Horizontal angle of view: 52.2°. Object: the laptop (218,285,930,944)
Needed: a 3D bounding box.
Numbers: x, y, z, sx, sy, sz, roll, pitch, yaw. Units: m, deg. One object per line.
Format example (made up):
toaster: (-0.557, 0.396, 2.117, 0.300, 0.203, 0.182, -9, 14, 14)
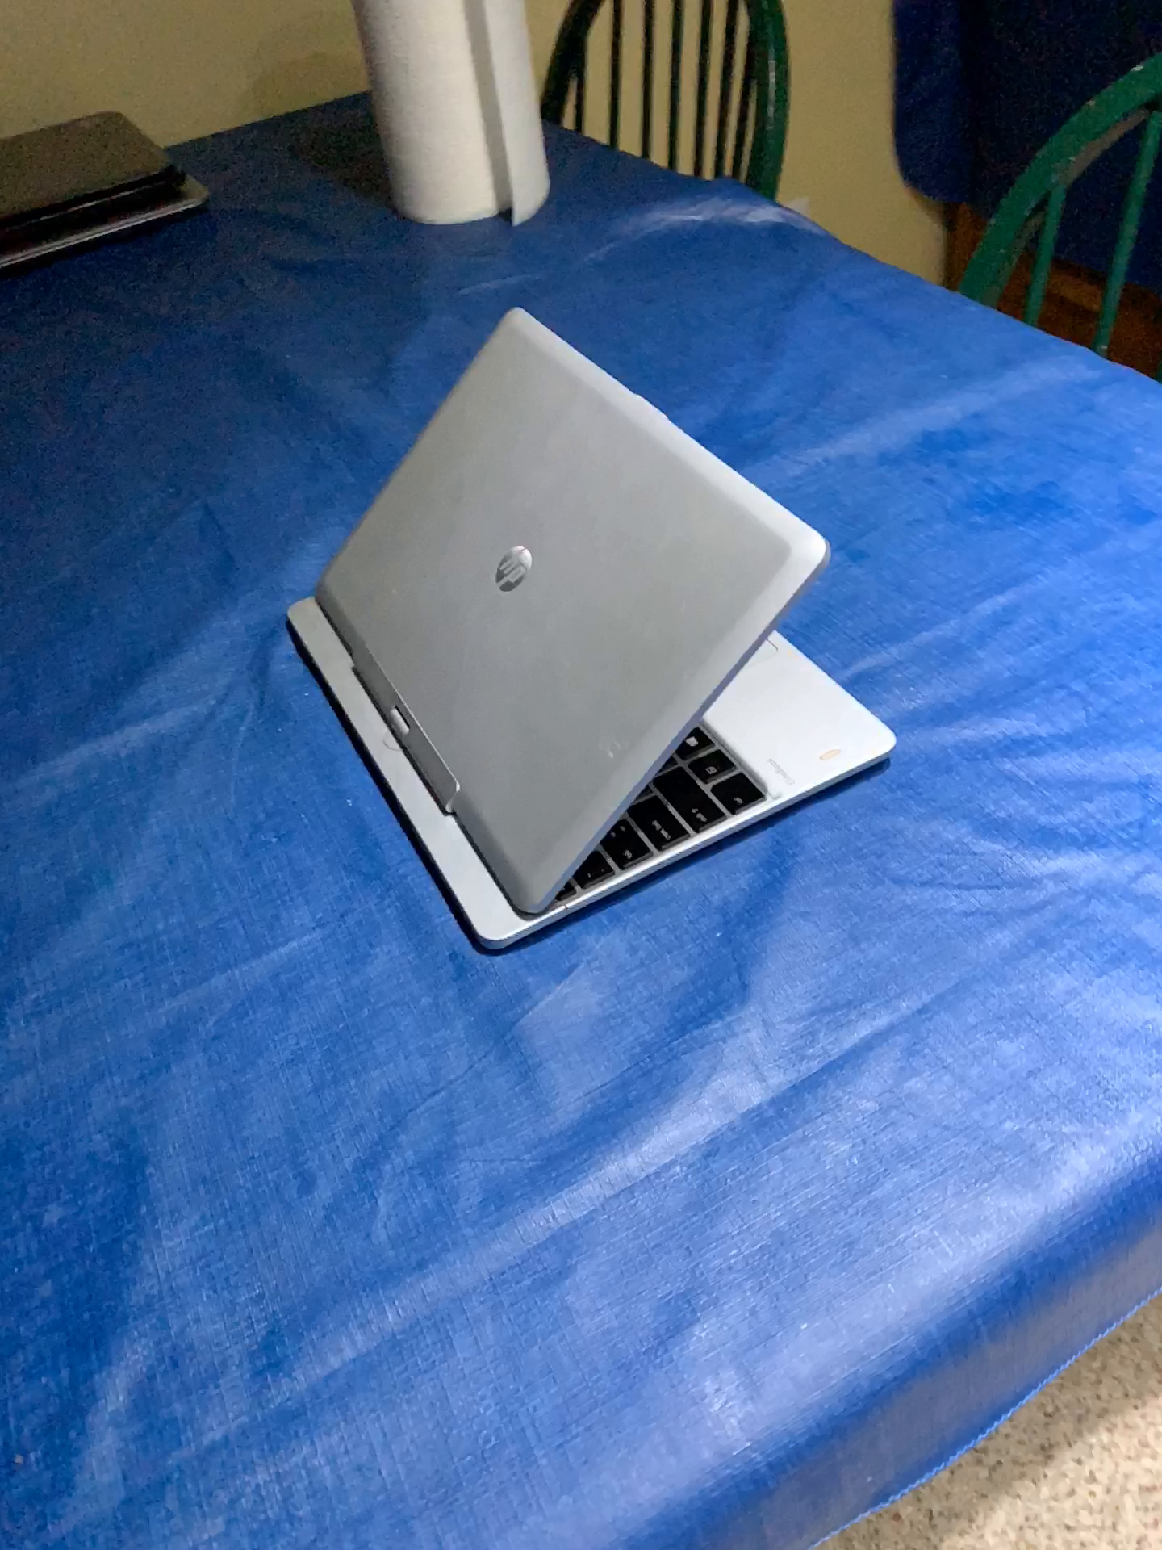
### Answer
laptop: (-0.016, -0.098, 0.561, 0.207, 0.122, 0.281, -24, 46, -14)
